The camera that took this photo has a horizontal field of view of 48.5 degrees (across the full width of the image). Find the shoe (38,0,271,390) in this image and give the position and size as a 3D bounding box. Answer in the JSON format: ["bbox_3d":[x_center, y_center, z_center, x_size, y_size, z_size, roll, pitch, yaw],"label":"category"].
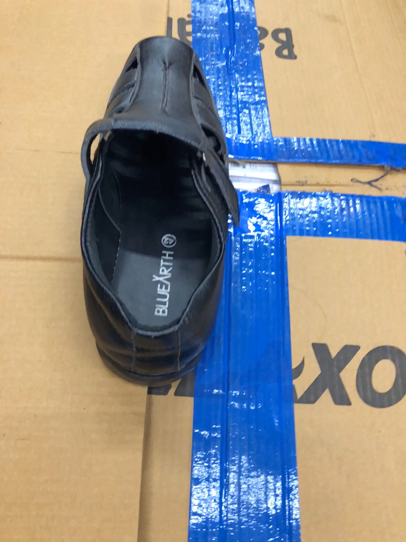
[{"bbox_3d":[-0.028,-0.084,0.305,0.101,0.097,0.305,1,64,-6],"label":"shoe"}]
